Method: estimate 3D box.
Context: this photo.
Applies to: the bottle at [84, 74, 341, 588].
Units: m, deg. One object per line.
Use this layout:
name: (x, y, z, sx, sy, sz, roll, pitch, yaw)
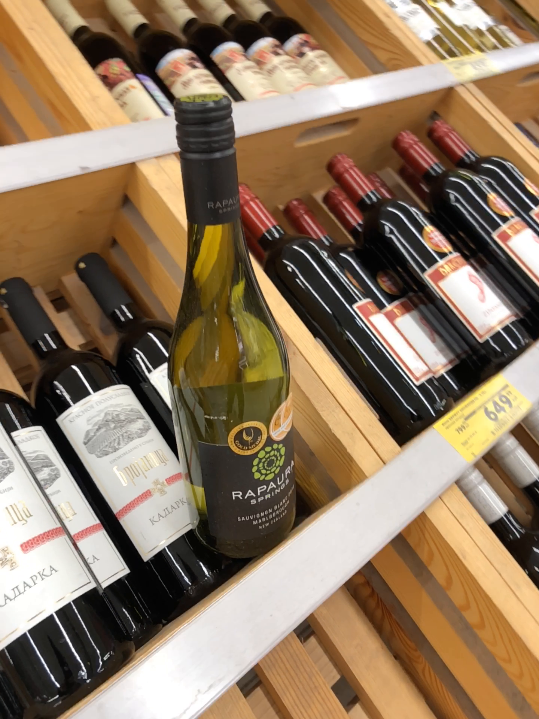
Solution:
bottle: (-0.024, -0.008, 0.366, 0.090, 0.288, 0.090, -2, 32, 1)
